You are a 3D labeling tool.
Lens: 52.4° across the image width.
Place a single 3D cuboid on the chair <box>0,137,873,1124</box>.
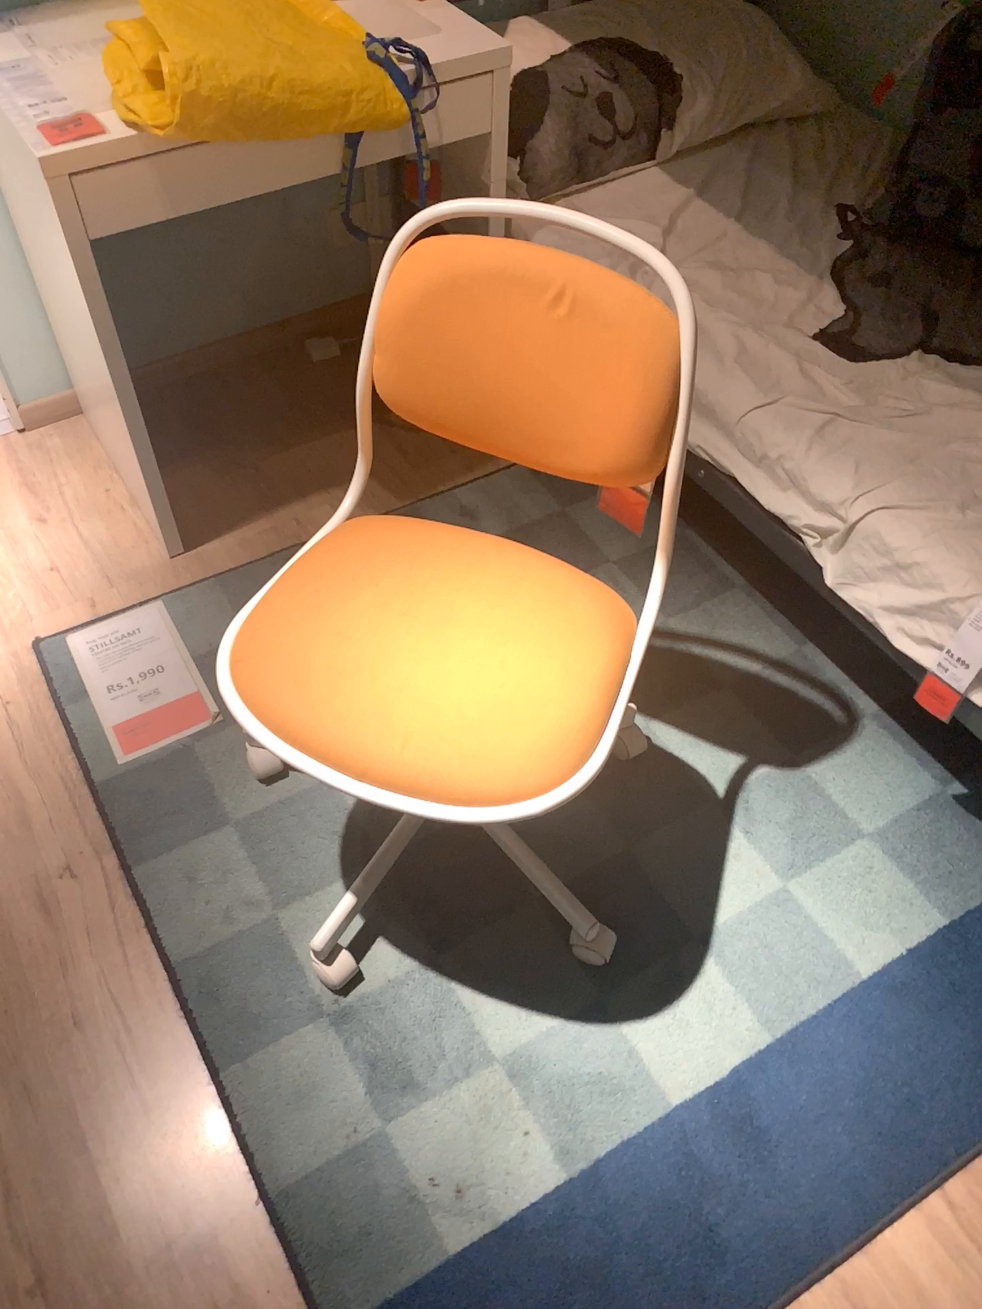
[{"bbox_3d":[-0.067,-0.022,1.134,0.611,0.708,0.651,24,55,16],"label":"chair"}]
